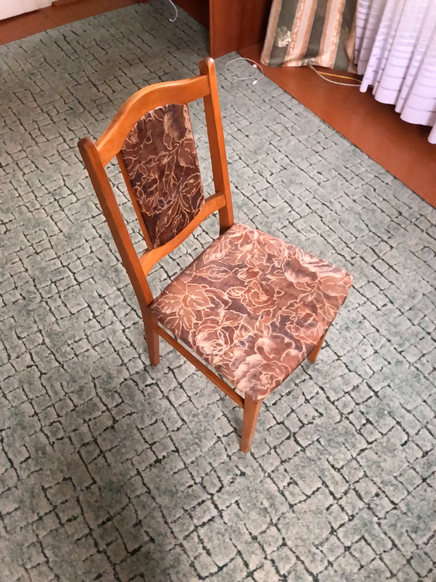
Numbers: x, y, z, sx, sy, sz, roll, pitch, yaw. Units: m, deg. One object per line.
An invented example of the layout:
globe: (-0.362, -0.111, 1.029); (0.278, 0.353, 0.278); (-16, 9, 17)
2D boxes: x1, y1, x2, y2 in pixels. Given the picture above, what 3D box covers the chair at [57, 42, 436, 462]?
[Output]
chair: (0.059, -0.036, 1.275); (0.551, 0.874, 0.482); (36, 63, 22)
